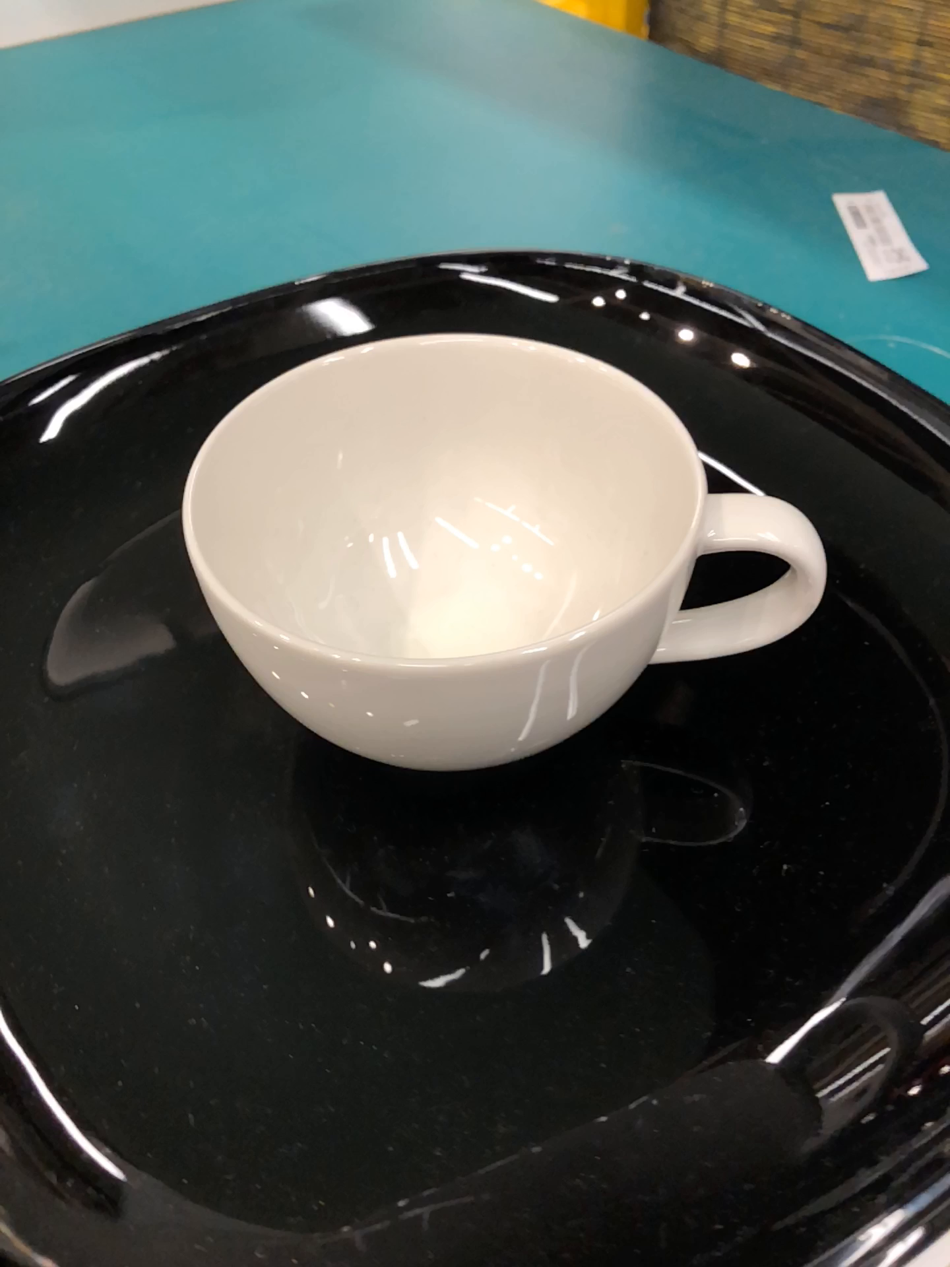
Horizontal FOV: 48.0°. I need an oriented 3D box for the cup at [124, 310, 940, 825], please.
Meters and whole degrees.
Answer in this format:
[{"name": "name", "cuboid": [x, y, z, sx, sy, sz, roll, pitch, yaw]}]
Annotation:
[{"name": "cup", "cuboid": [0.009, -0.020, 0.224, 0.130, 0.040, 0.110, -2, 44, 1]}]
